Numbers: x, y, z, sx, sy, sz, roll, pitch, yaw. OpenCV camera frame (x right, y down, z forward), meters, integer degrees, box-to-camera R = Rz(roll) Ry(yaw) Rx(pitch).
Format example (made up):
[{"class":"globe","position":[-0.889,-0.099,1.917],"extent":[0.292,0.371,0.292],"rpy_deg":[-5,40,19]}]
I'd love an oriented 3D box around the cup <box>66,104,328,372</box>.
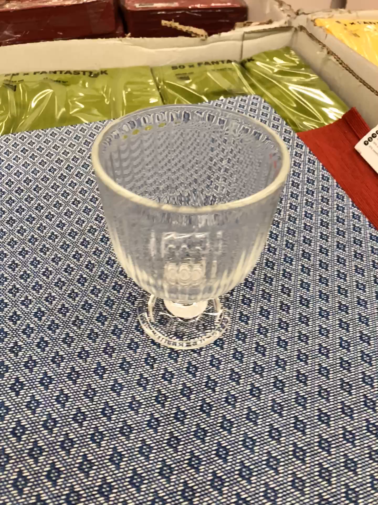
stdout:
[{"class":"cup","position":[0.002,-0.008,0.236],"extent":[0.100,0.110,0.100],"rpy_deg":[0,43,0]}]
